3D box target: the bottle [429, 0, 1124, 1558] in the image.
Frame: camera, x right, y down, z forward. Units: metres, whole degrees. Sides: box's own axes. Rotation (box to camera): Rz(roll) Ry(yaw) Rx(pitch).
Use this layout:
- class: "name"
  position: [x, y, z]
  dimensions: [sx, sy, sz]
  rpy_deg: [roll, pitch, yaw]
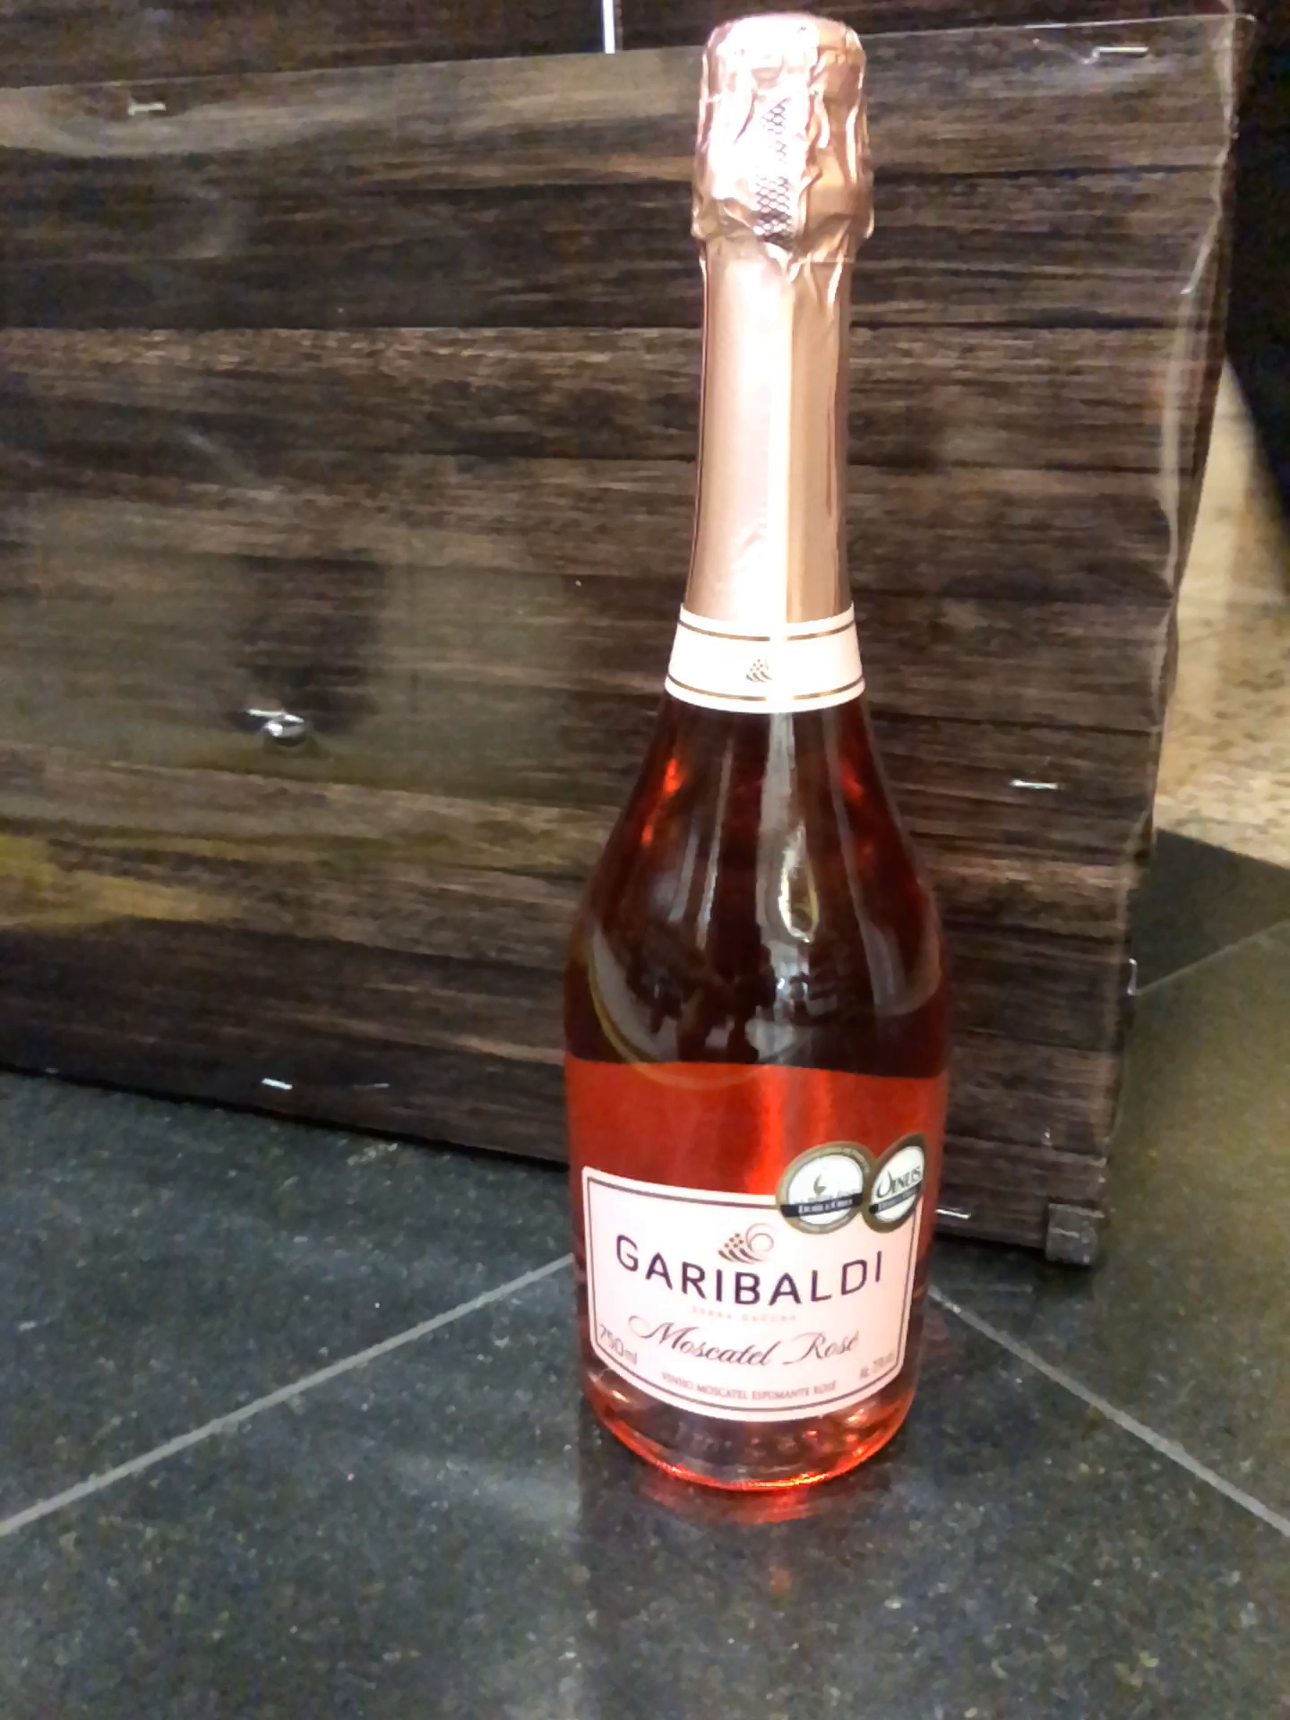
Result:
- class: "bottle"
  position: [0.028, -0.016, 0.330]
  dimensions: [0.110, 0.338, 0.101]
  rpy_deg: [0, 20, 0]
